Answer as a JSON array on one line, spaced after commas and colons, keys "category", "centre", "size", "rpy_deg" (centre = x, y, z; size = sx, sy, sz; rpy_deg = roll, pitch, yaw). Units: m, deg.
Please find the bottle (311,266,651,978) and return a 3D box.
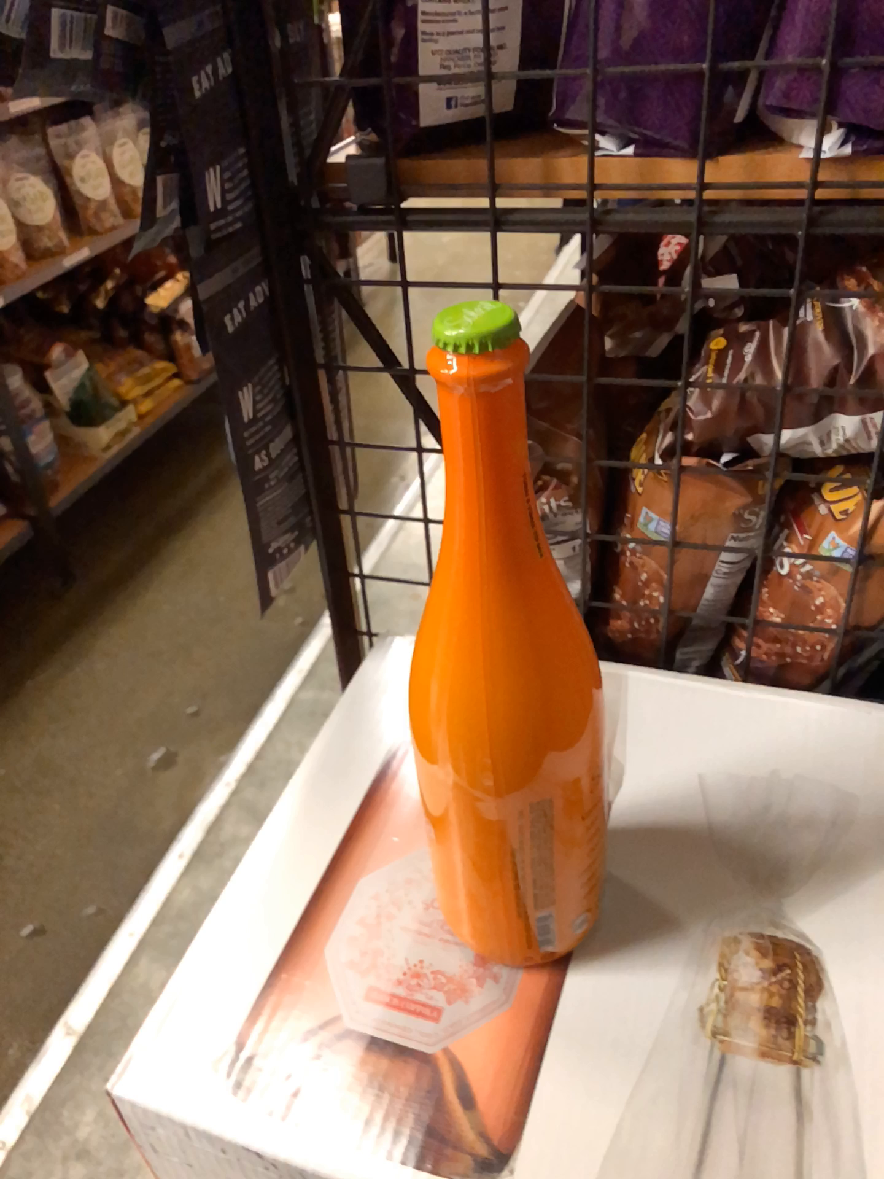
[{"category": "bottle", "centre": [0.026, 0.025, 0.394], "size": [0.090, 0.279, 0.090], "rpy_deg": [-3, 35, 2]}]
